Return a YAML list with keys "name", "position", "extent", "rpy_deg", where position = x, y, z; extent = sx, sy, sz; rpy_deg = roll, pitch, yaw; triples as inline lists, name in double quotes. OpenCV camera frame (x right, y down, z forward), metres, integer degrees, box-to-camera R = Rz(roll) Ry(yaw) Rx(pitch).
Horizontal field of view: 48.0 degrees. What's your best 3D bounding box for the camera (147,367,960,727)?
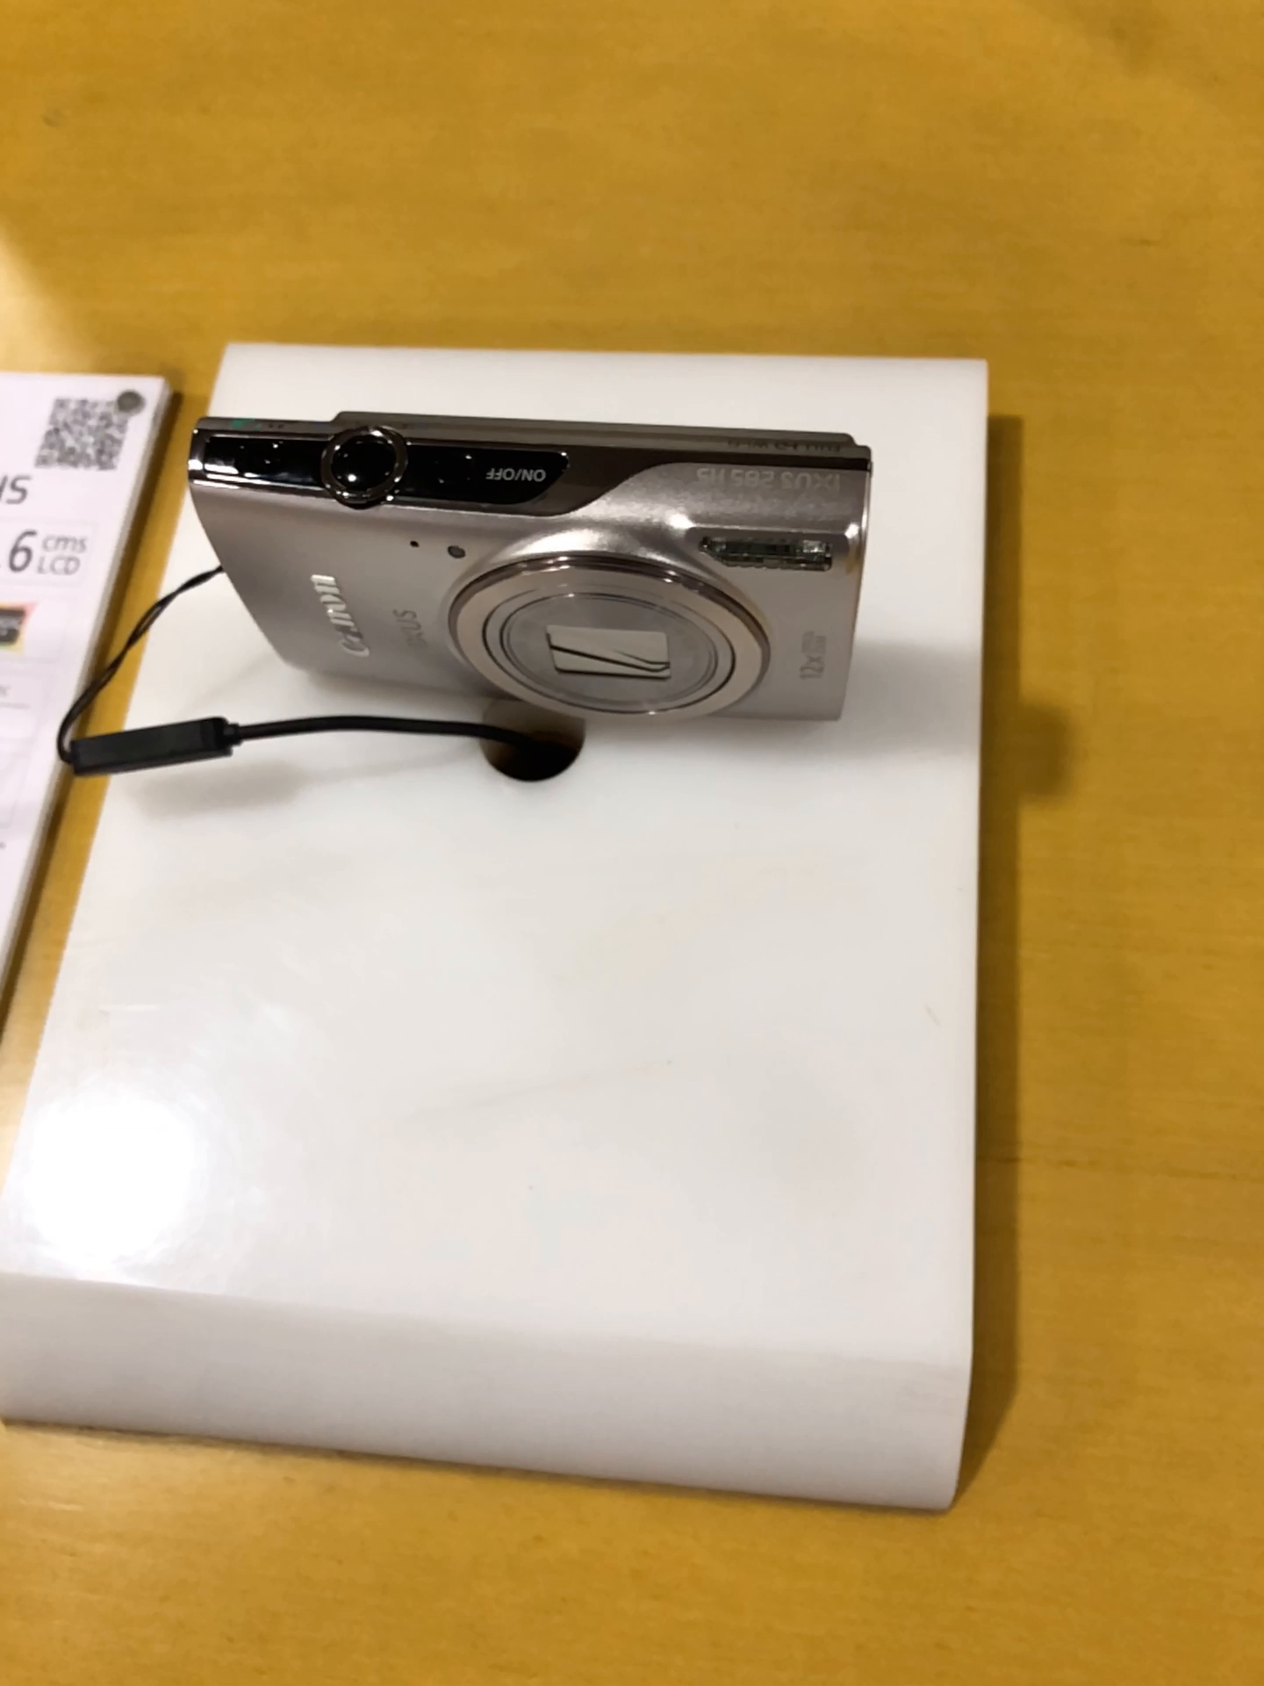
- name: "camera"
  position: [-0.009, -0.044, 0.221]
  extent: [0.110, 0.060, 0.020]
  rpy_deg: [4, 68, 6]
